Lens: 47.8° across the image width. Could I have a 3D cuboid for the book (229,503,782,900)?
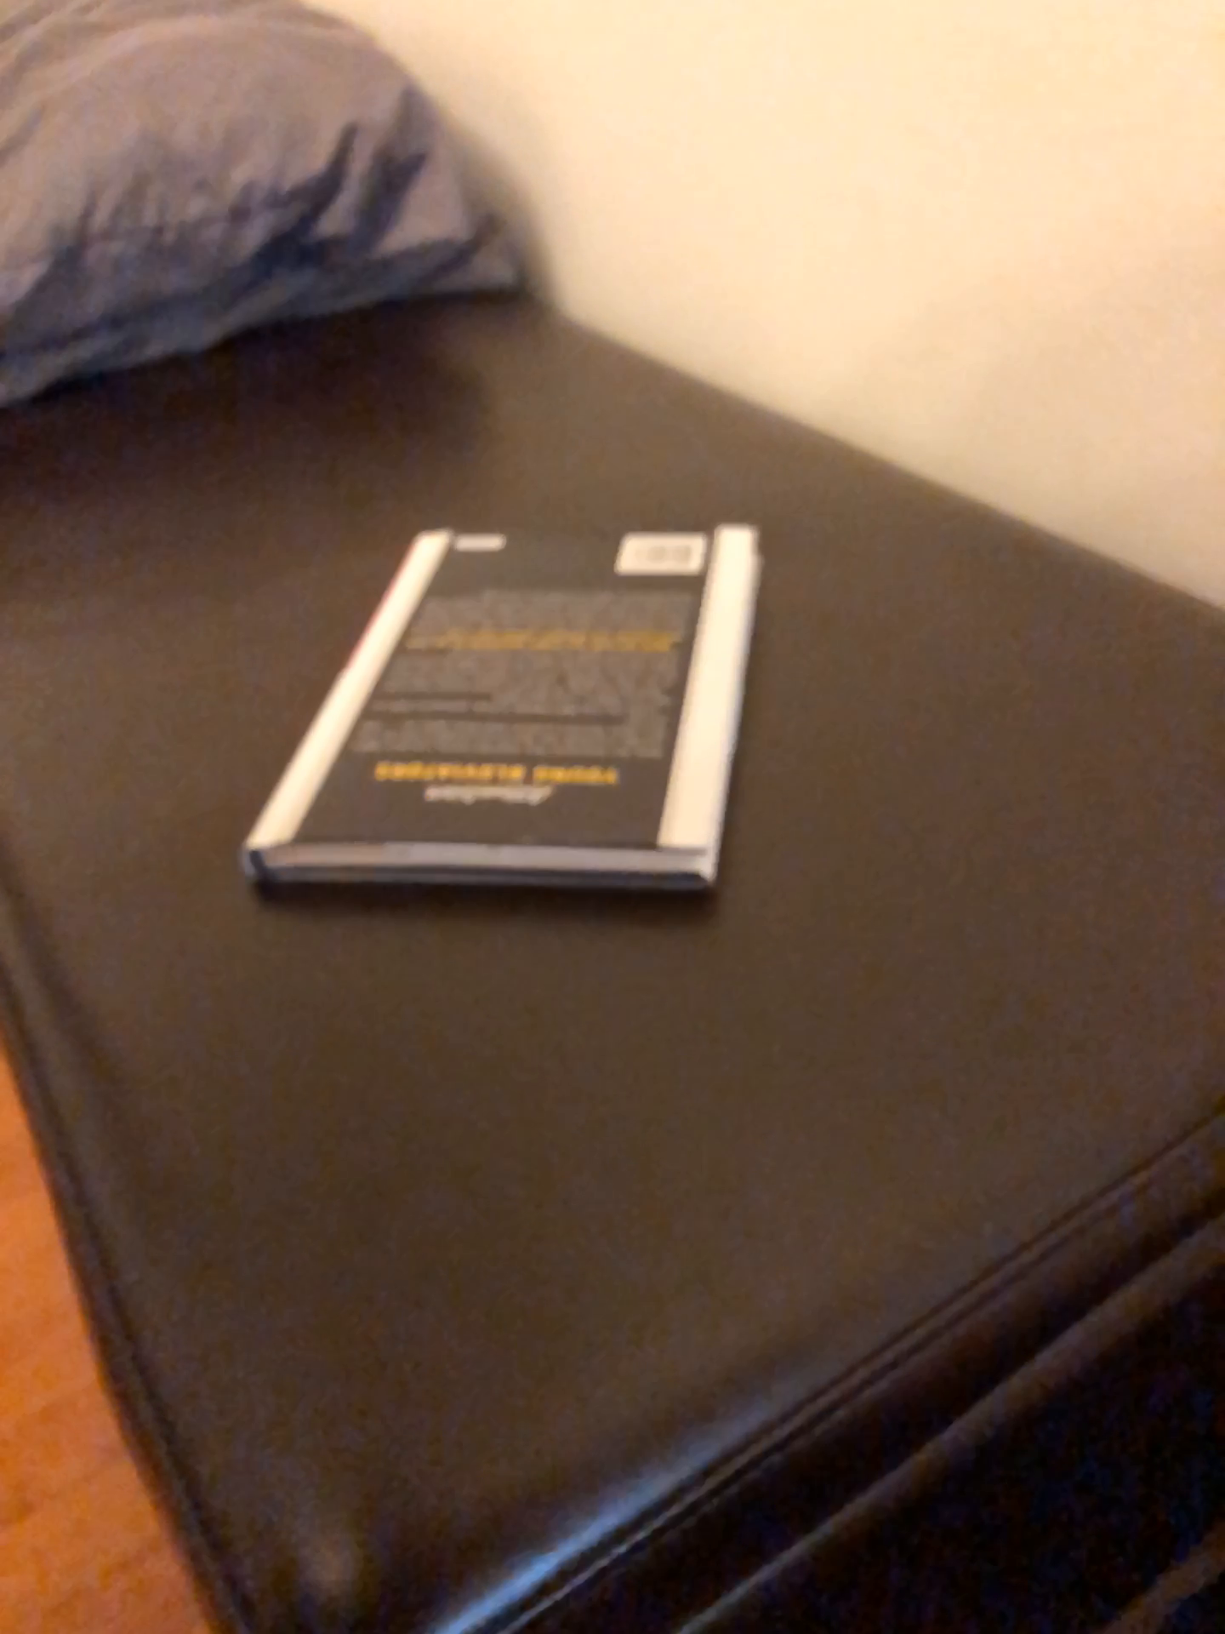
[{"bbox_3d":[-0.023,-0.054,0.509,0.160,0.020,0.231,1,38,9],"label":"book"}]
